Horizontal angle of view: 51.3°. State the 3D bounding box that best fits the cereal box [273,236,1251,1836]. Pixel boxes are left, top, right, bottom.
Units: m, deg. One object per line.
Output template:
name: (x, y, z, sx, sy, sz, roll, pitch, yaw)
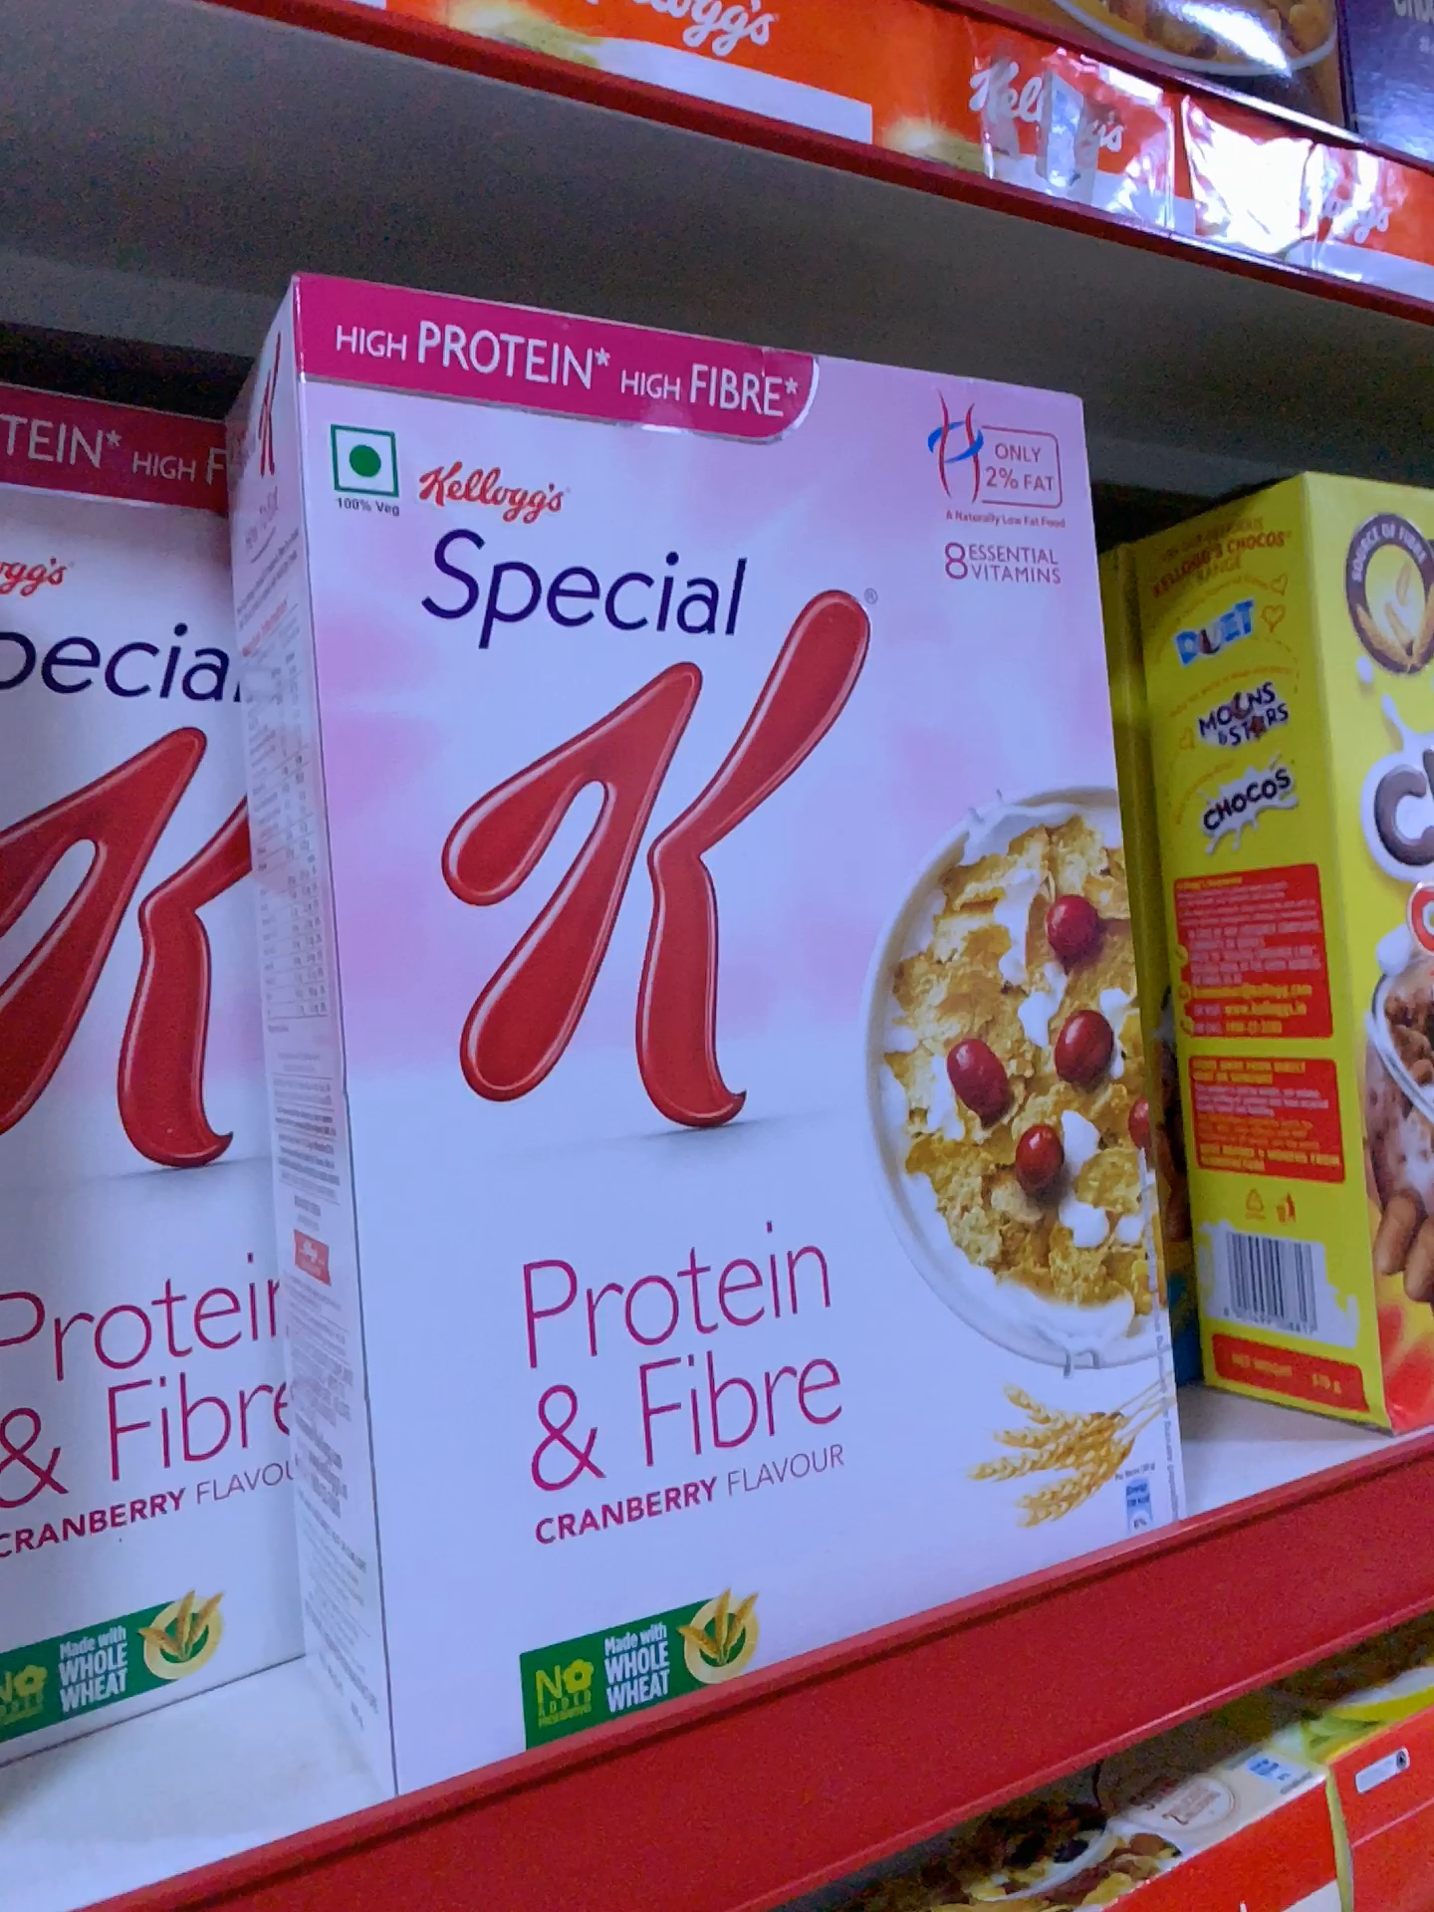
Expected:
cereal box: (0.013, 0.007, 0.292, 0.170, 0.240, 0.060, -3, -2, -30)
